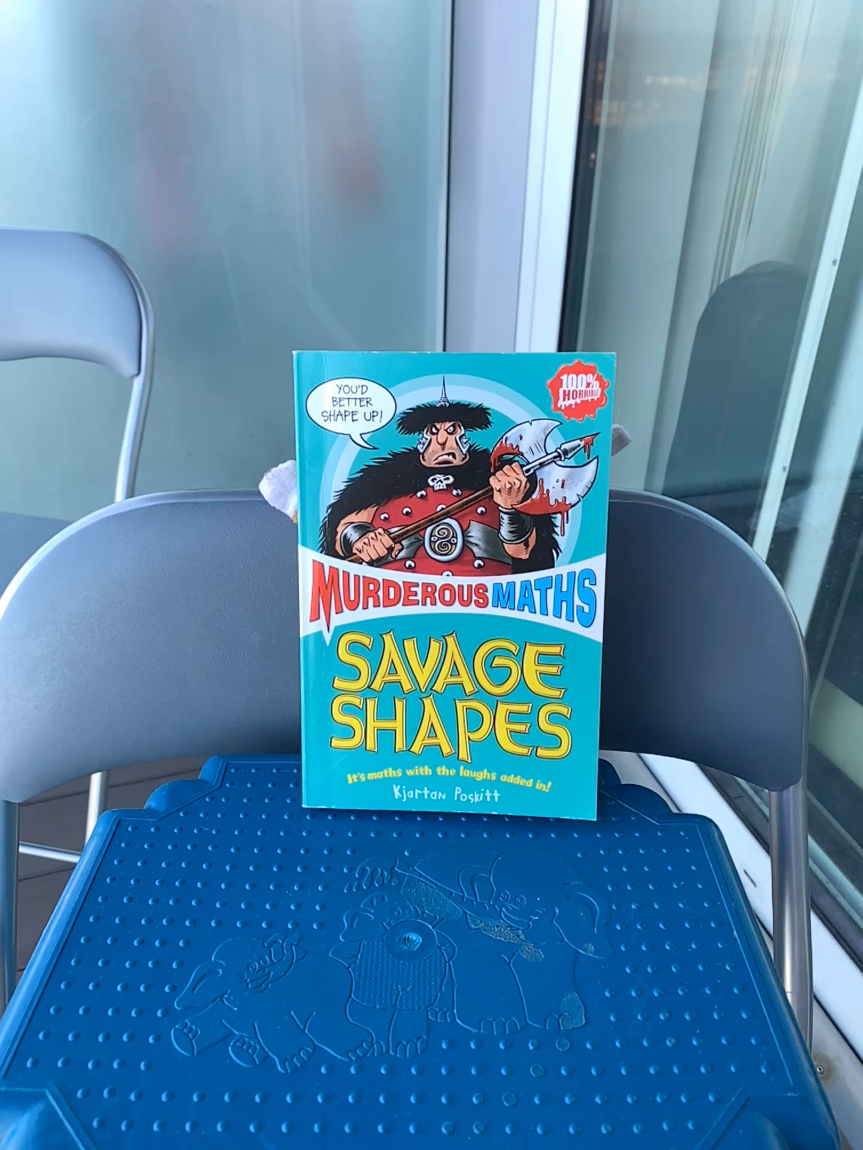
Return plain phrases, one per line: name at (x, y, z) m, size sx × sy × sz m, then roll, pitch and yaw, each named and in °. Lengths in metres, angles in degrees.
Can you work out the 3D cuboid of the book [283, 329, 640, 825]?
book at (0.008, 0.002, 0.363) m, size 0.133 × 0.193 × 0.029 m, roll 2°, pitch 10°, yaw 1°
